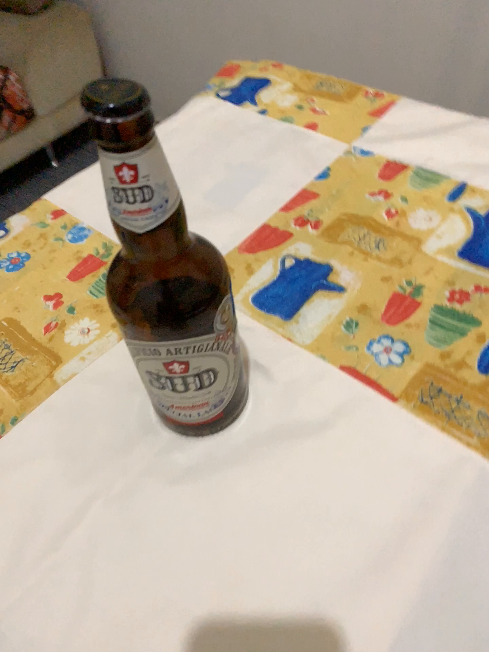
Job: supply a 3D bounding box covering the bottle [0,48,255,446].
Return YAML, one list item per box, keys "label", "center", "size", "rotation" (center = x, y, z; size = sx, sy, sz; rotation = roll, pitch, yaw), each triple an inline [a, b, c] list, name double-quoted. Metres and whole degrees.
- label: "bottle"
  center: [-0.044, -0.019, 0.296]
  size: [0.080, 0.239, 0.070]
  rotation: [-5, 50, 2]
